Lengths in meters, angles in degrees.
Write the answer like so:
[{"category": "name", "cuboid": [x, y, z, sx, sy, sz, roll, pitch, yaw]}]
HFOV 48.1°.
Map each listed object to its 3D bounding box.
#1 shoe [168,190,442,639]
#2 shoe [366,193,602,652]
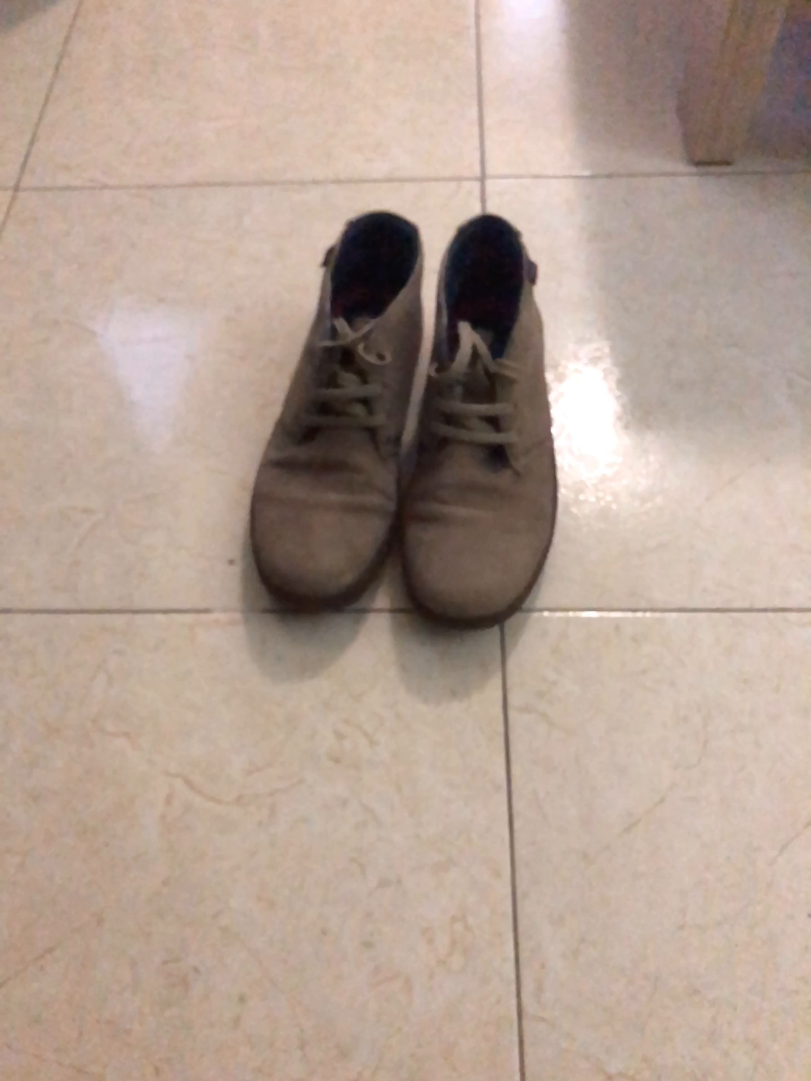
[{"category": "shoe", "cuboid": [-0.051, -0.092, 0.621, 0.110, 0.120, 0.281, 8, 60, 7]}, {"category": "shoe", "cuboid": [0.058, -0.085, 0.603, 0.120, 0.120, 0.281, 5, 60, 6]}]
